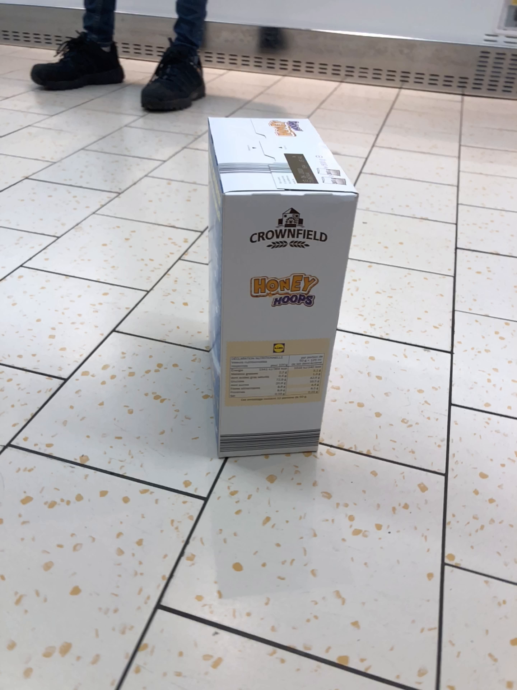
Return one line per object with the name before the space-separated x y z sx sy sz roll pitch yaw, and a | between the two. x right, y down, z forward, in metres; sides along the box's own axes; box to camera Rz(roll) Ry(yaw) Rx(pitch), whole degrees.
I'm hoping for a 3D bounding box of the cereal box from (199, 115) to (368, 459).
cereal box | 0.004 -0.061 0.541 0.110 0.248 0.211 -2 35 -7
